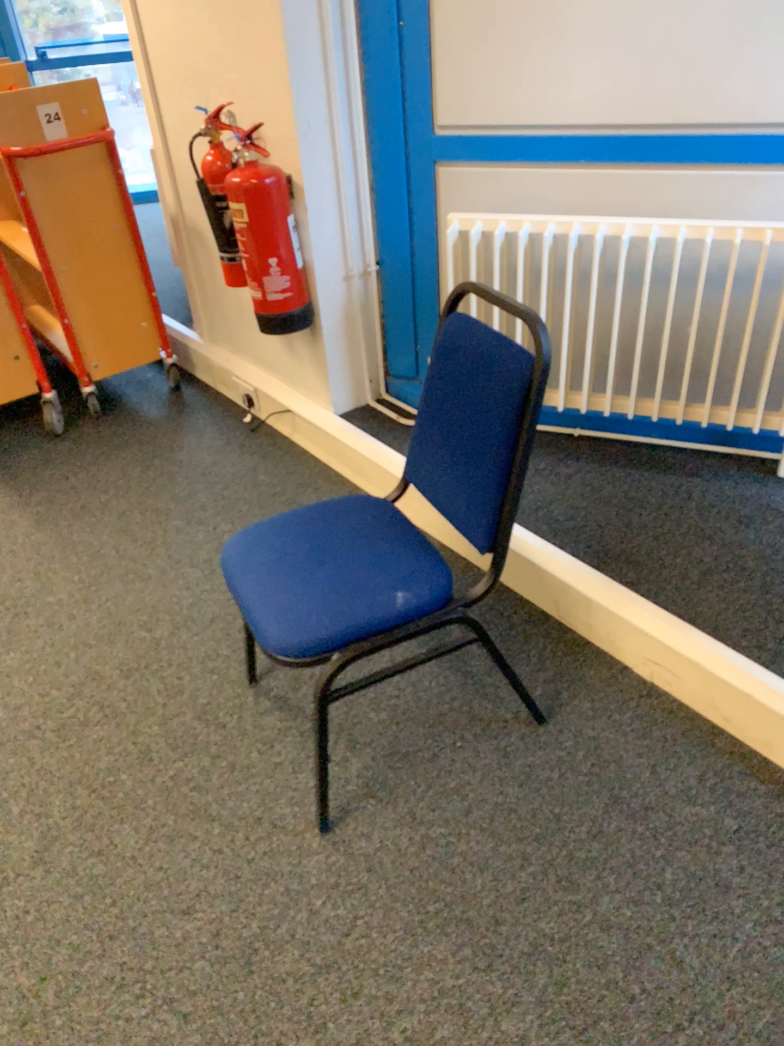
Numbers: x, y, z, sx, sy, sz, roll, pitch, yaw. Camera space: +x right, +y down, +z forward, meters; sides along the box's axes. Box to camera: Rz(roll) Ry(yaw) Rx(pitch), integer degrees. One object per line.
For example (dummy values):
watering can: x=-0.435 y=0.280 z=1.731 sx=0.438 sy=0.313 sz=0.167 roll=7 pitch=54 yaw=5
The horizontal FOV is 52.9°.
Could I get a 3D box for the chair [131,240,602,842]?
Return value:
chair: x=-0.033 y=0.023 z=1.446 sx=0.575 sy=0.842 sz=0.476 roll=-19 pitch=38 yaw=-19
